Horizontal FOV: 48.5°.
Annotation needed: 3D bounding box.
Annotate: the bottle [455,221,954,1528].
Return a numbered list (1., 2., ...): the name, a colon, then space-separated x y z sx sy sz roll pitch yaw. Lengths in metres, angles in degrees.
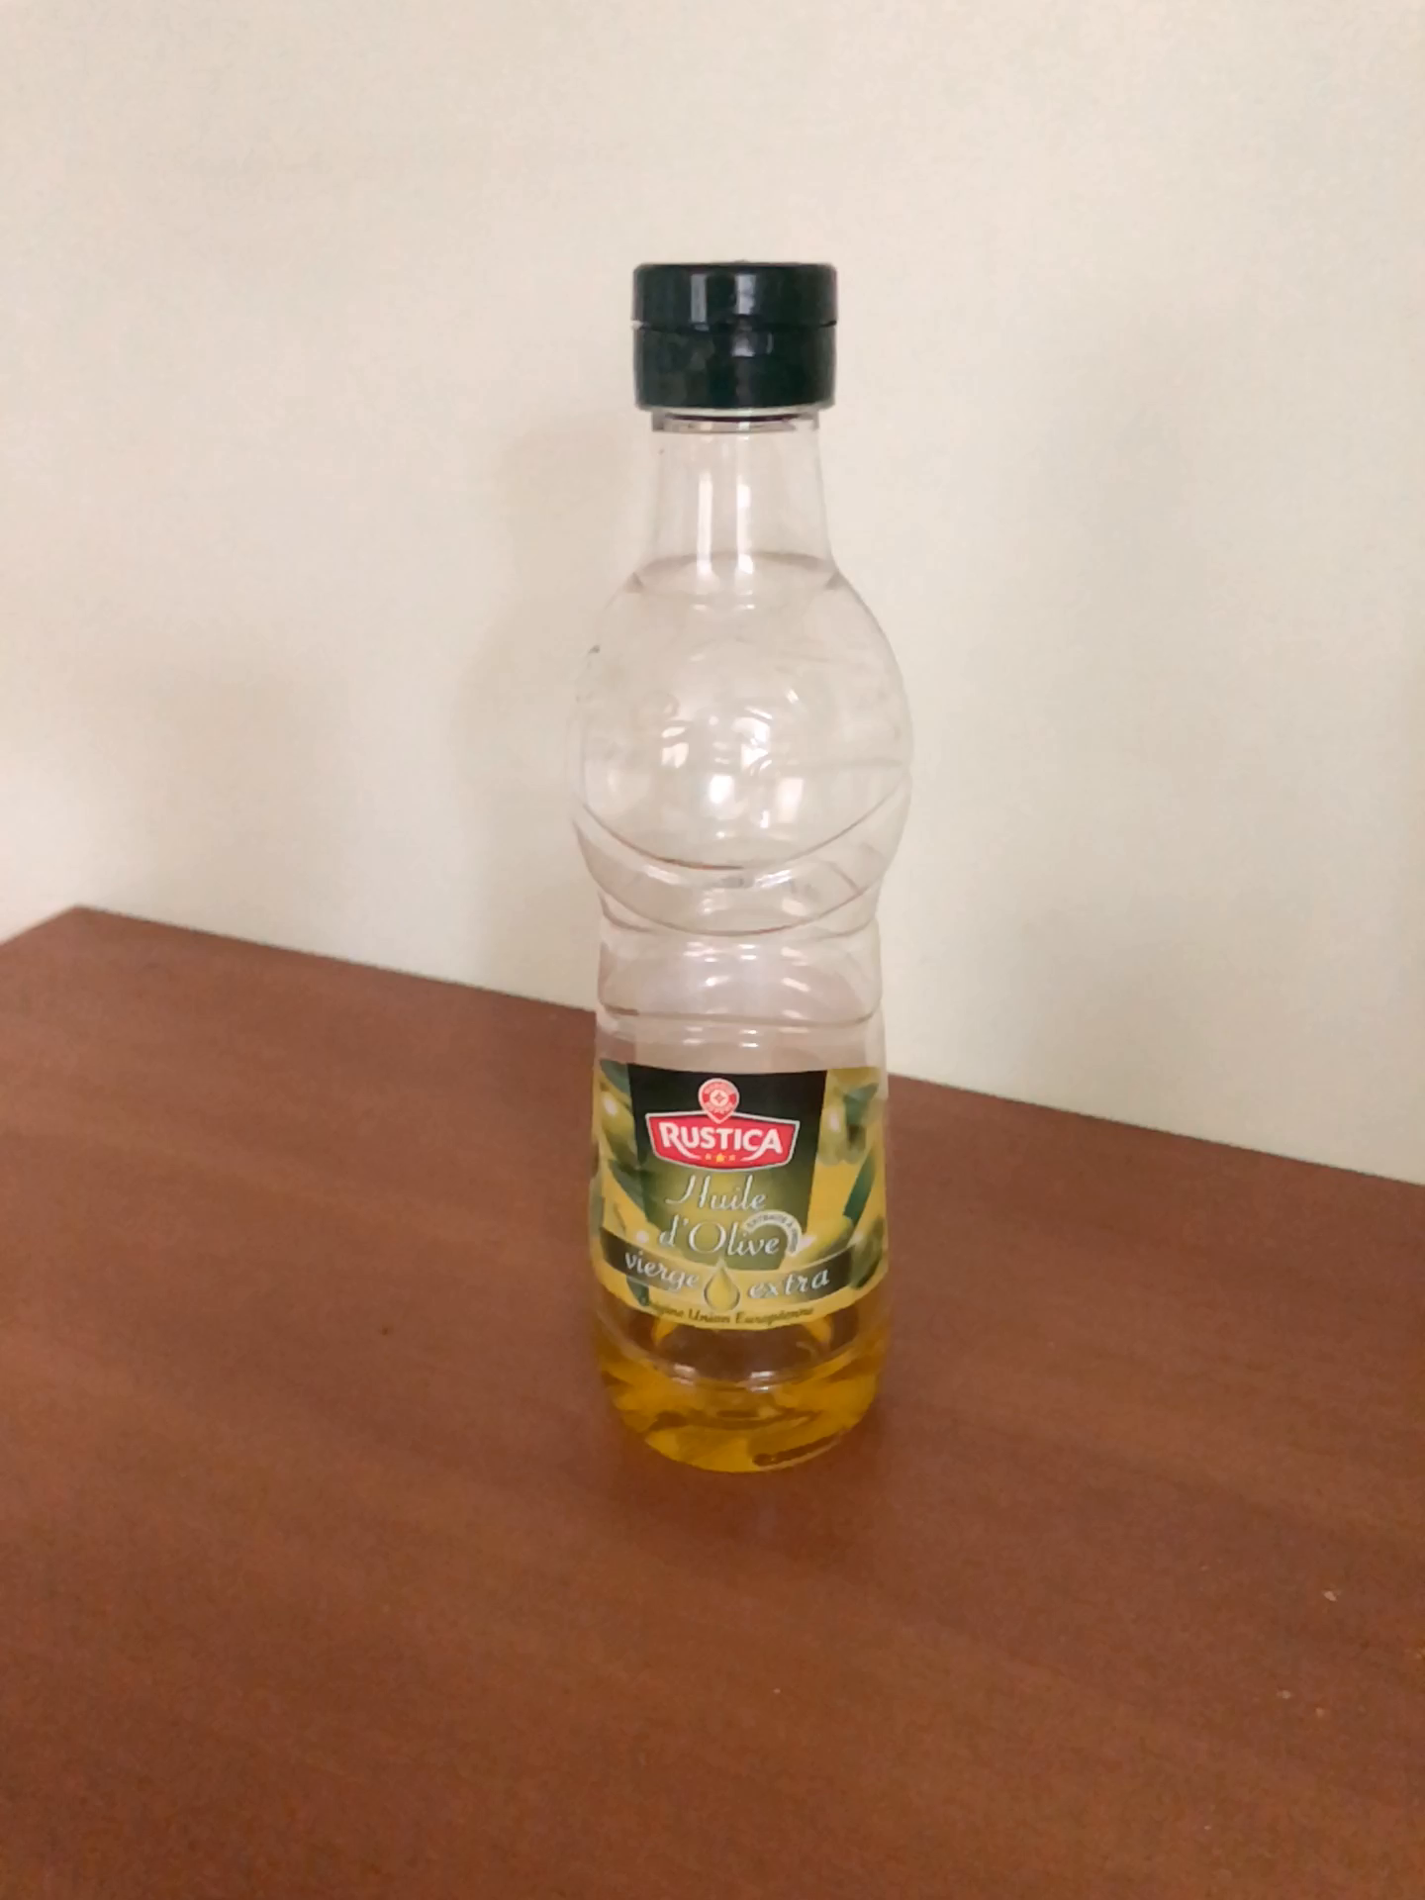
1. bottle: 0.004 -0.009 0.306 0.070 0.239 0.070 0 25 0
